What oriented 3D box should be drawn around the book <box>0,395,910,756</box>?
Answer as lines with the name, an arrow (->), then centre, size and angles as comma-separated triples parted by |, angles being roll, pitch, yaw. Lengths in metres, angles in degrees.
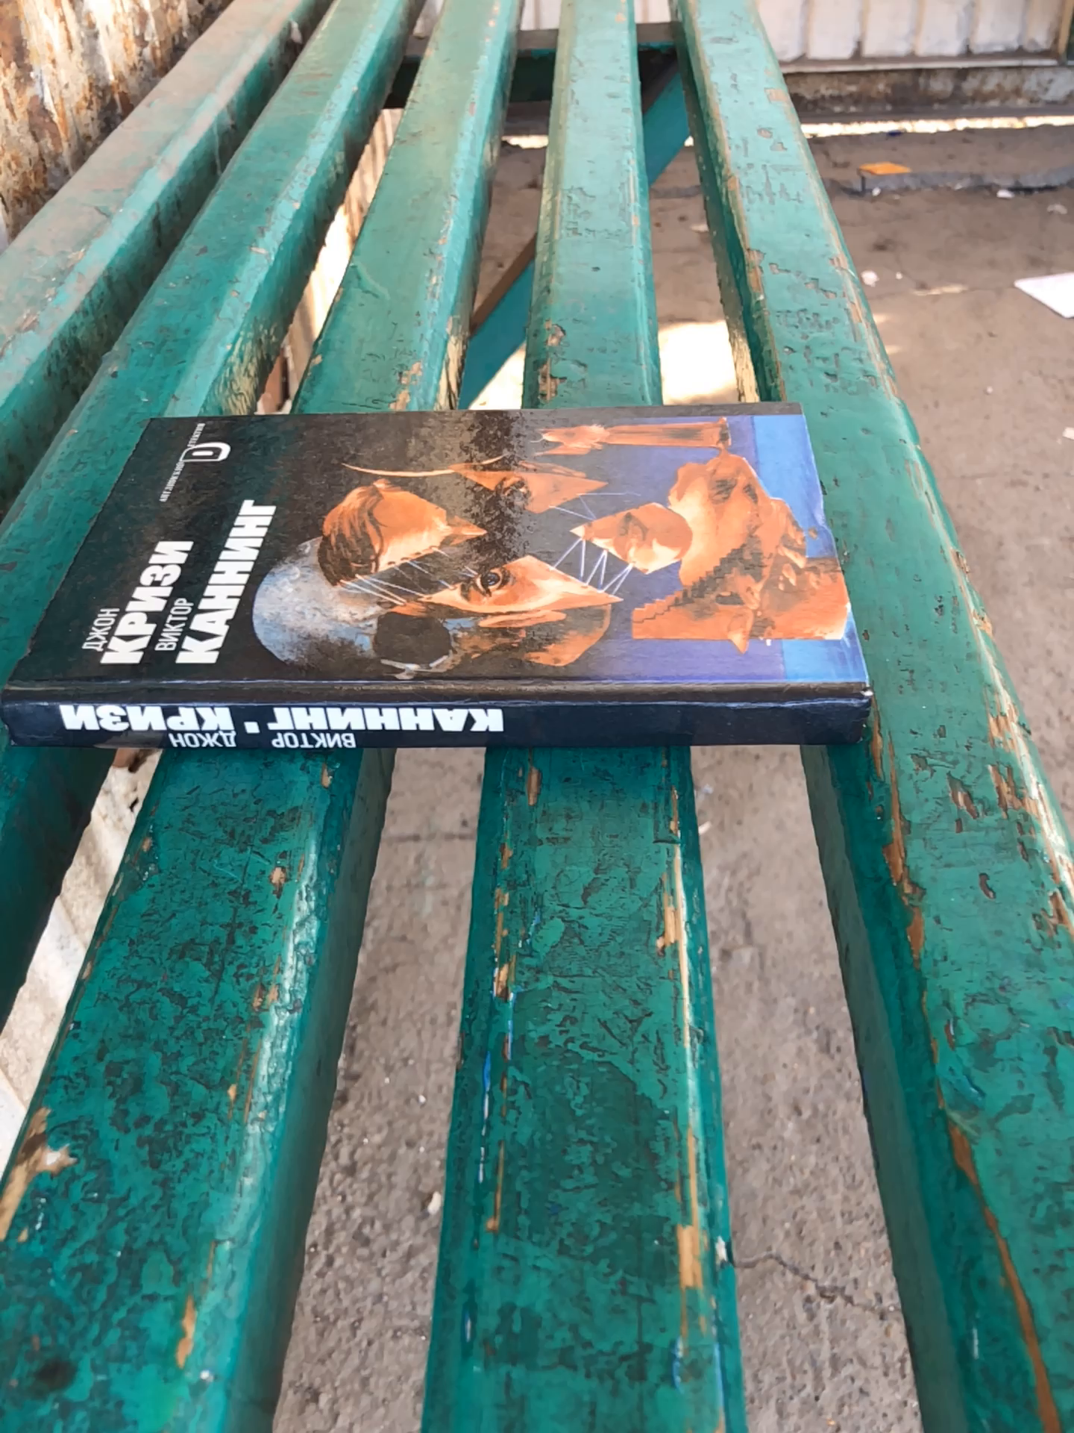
book -> -0.019, -0.044, 0.330 | 0.211, 0.020, 0.135 | -1, 43, 4
